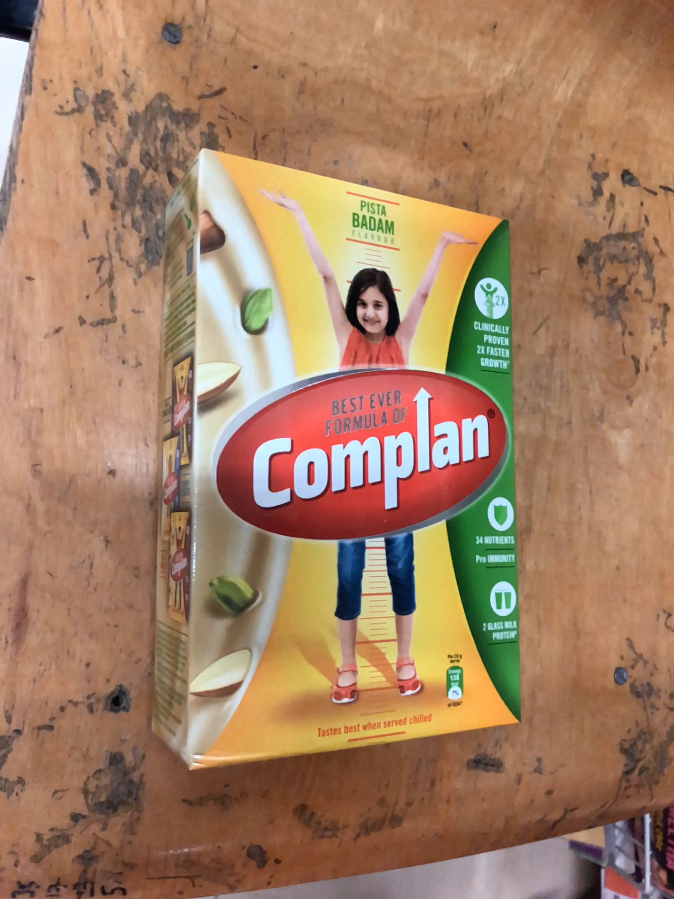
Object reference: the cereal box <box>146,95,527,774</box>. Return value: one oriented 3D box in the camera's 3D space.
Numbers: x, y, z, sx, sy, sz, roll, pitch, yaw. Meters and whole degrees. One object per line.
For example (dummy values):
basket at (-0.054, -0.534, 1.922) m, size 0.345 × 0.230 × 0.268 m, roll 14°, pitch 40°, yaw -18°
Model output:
cereal box at (0.002, -0.005, 0.298) m, size 0.140 × 0.050 × 0.220 m, roll 2°, pitch 84°, yaw -30°
